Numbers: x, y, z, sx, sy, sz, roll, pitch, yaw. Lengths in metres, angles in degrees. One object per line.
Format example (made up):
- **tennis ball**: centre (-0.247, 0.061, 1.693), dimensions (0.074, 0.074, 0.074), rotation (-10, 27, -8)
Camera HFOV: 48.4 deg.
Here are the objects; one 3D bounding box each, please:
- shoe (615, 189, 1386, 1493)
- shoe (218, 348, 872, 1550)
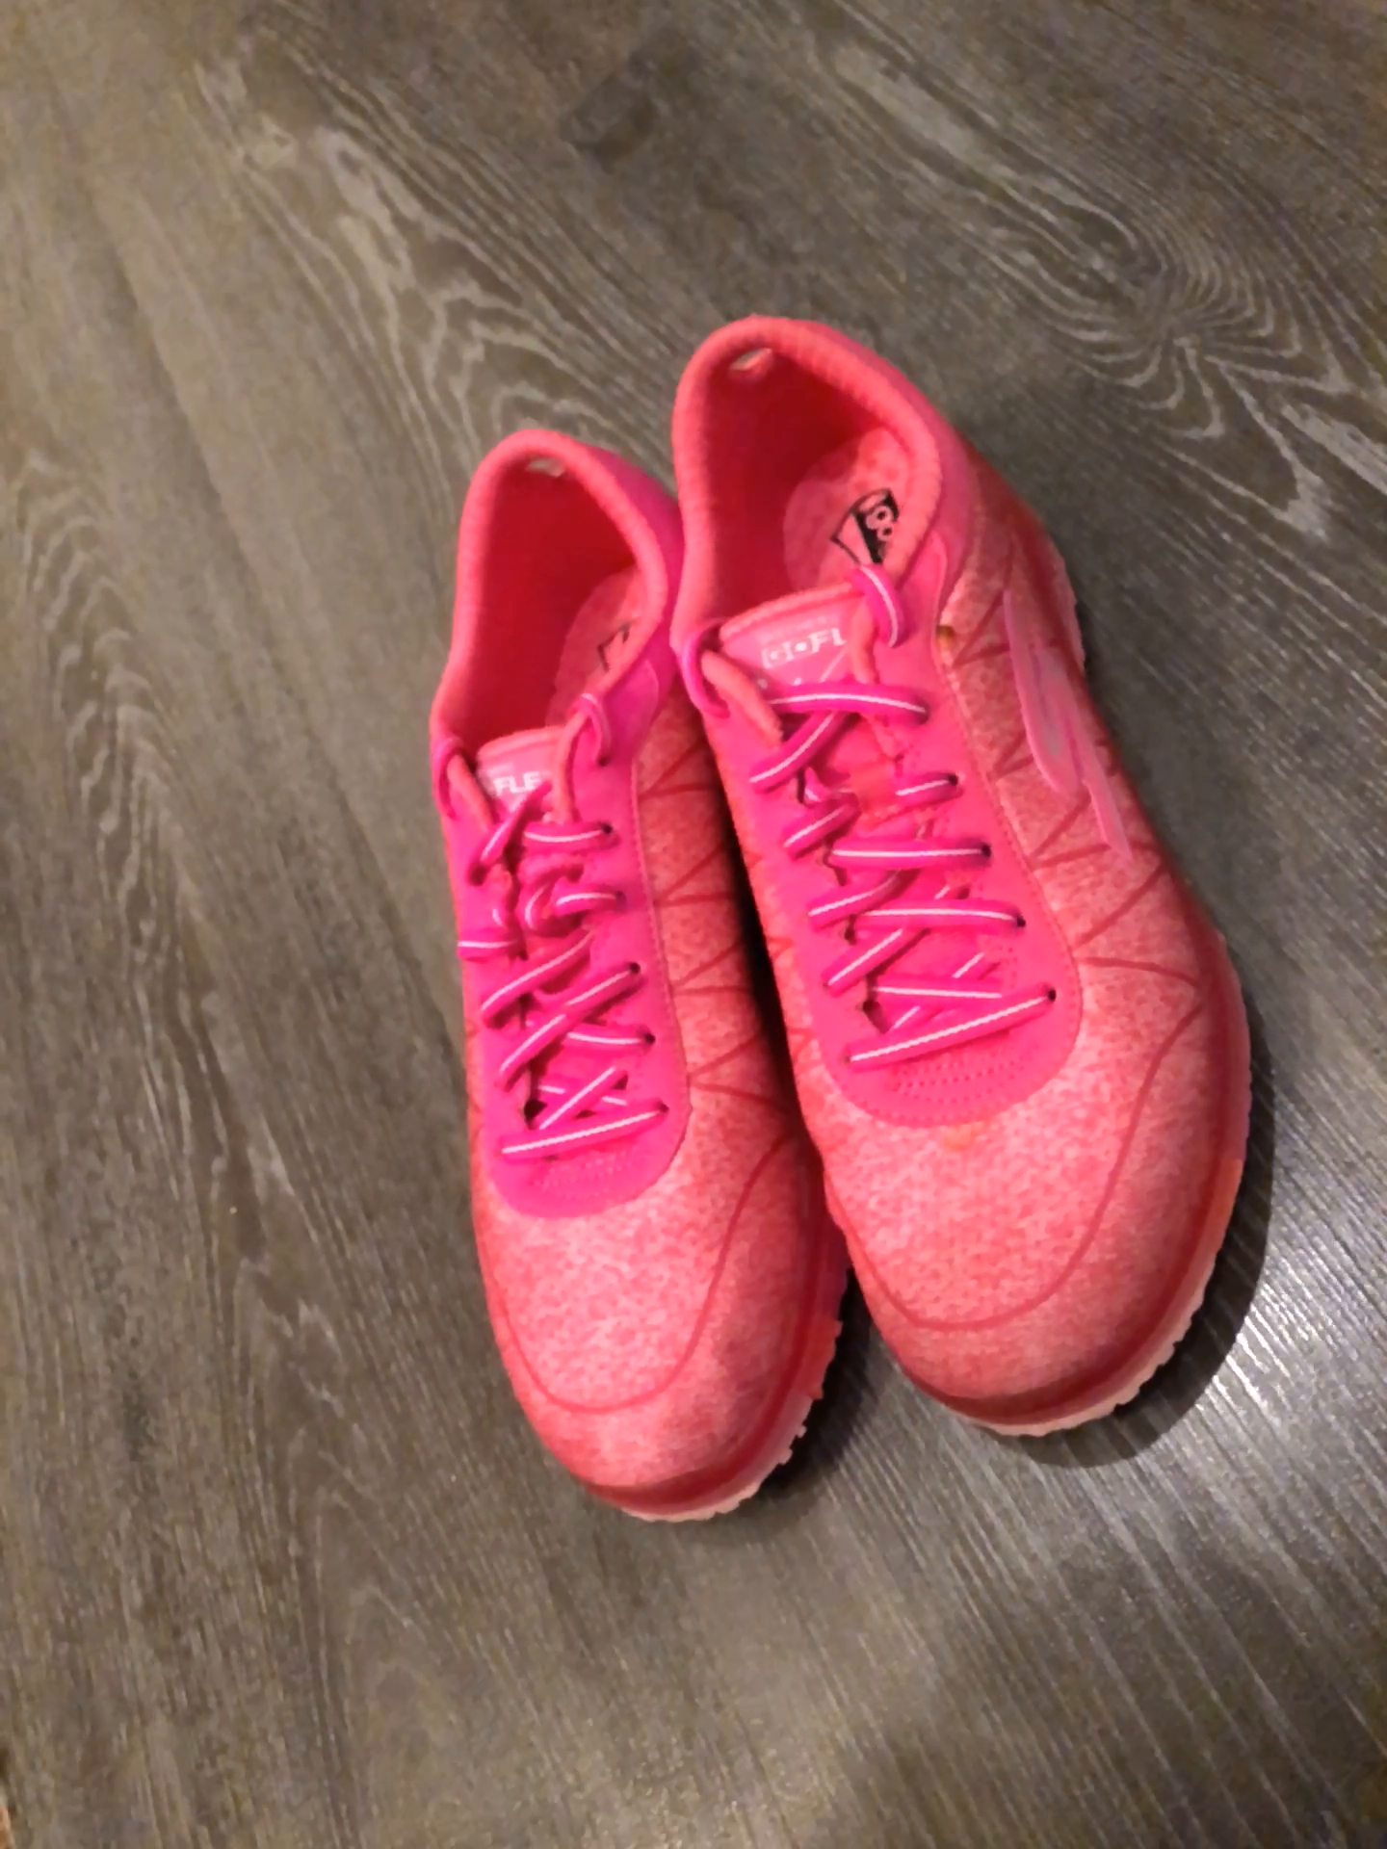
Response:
- **shoe**: centre (0.058, -0.022, 0.344), dimensions (0.100, 0.090, 0.261), rotation (-19, 59, 22)
- **shoe**: centre (-0.030, 0.005, 0.372), dimensions (0.100, 0.090, 0.261), rotation (-14, 61, 24)
